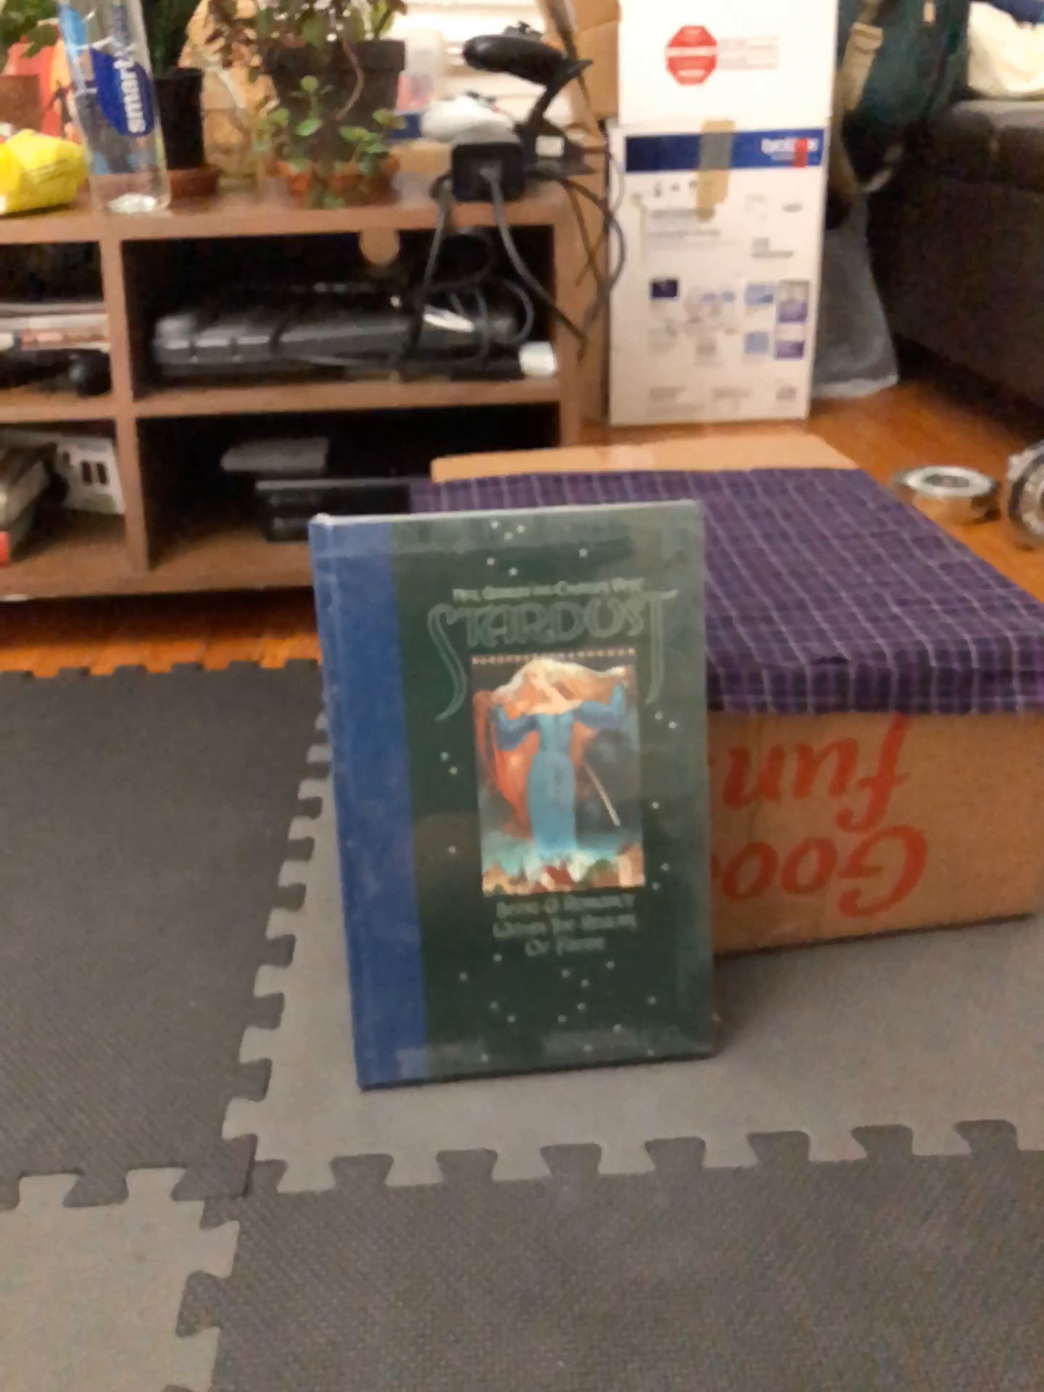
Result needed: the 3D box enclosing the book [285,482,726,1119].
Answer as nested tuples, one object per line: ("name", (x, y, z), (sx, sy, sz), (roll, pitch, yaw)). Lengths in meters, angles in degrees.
("book", (-0.002, 0.060, 0.622), (0.210, 0.329, 0.020), (-5, 11, -4))
